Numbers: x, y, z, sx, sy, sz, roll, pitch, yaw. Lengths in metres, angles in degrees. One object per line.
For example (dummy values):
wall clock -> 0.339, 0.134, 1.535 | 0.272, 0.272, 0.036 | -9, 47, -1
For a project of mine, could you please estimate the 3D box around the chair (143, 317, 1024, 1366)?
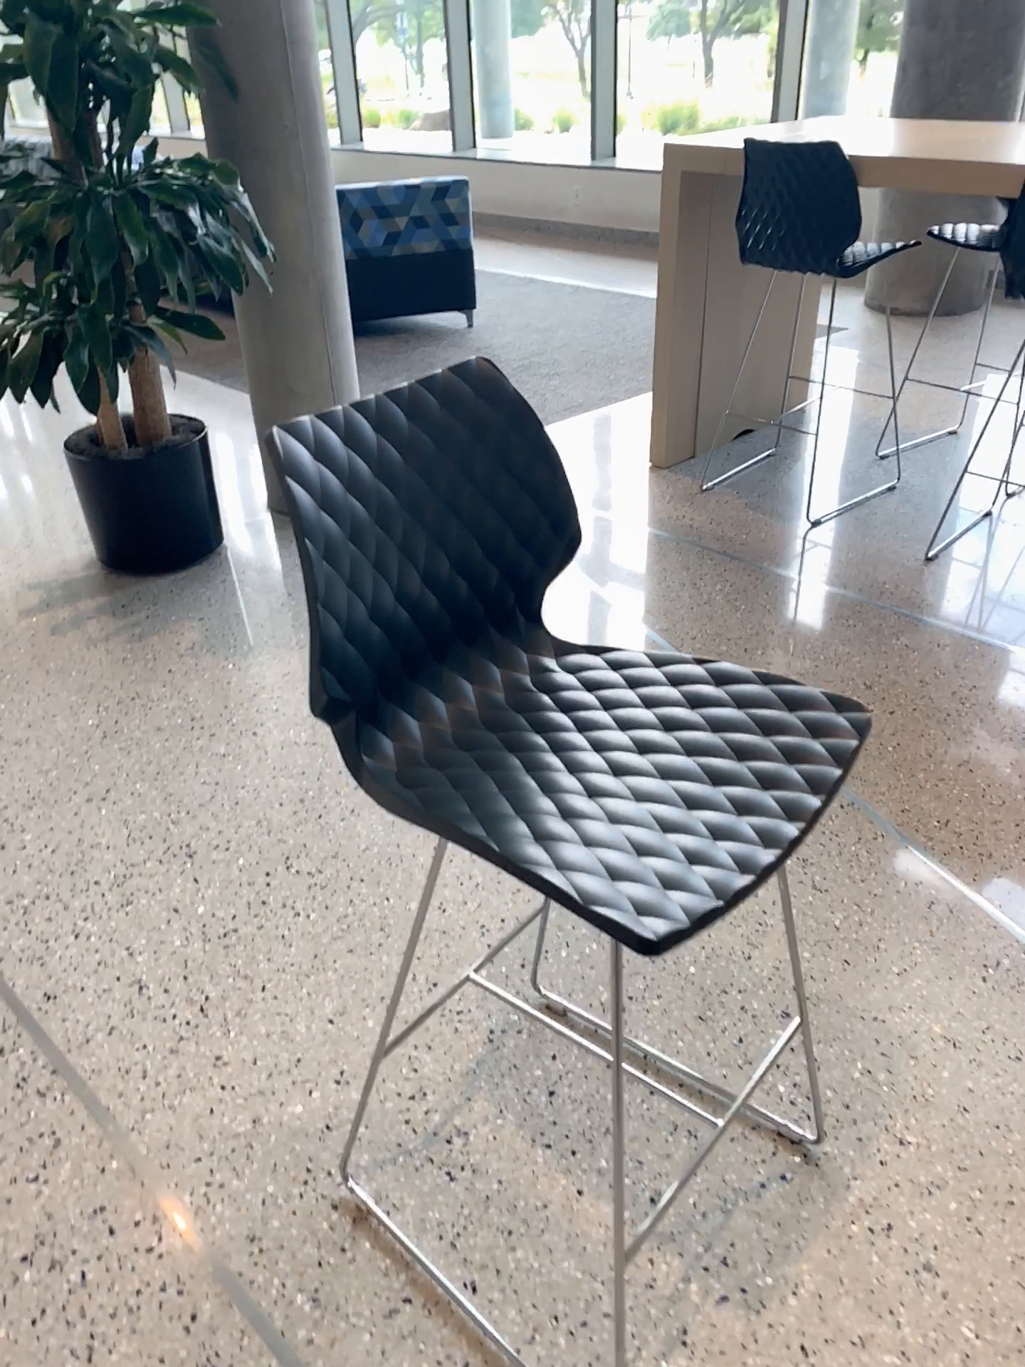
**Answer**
chair -> 0.086, 0.219, 1.167 | 0.548, 1.048, 0.534 | 23, 40, 36

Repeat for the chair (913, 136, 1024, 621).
chair -> 1.519, -0.809, 2.731 | 0.548, 1.048, 0.534 | -25, 38, -32

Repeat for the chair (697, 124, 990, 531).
chair -> 0.985, -1.116, 3.248 | 0.548, 1.048, 0.534 | -25, 38, -32
